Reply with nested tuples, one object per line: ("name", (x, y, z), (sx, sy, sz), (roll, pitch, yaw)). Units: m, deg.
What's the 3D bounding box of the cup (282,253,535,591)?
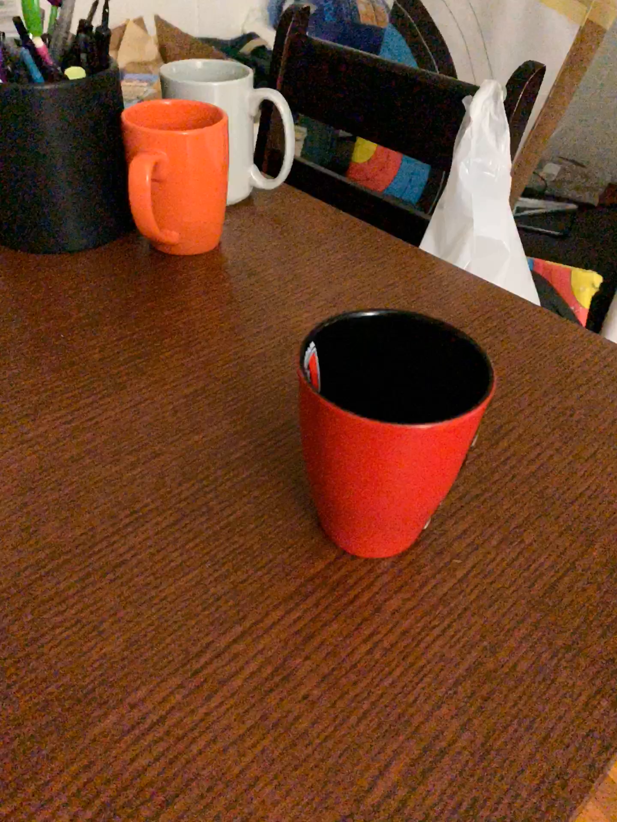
("cup", (0.037, 0.001, 0.311), (0.090, 0.099, 0.131), (3, 41, 0))
